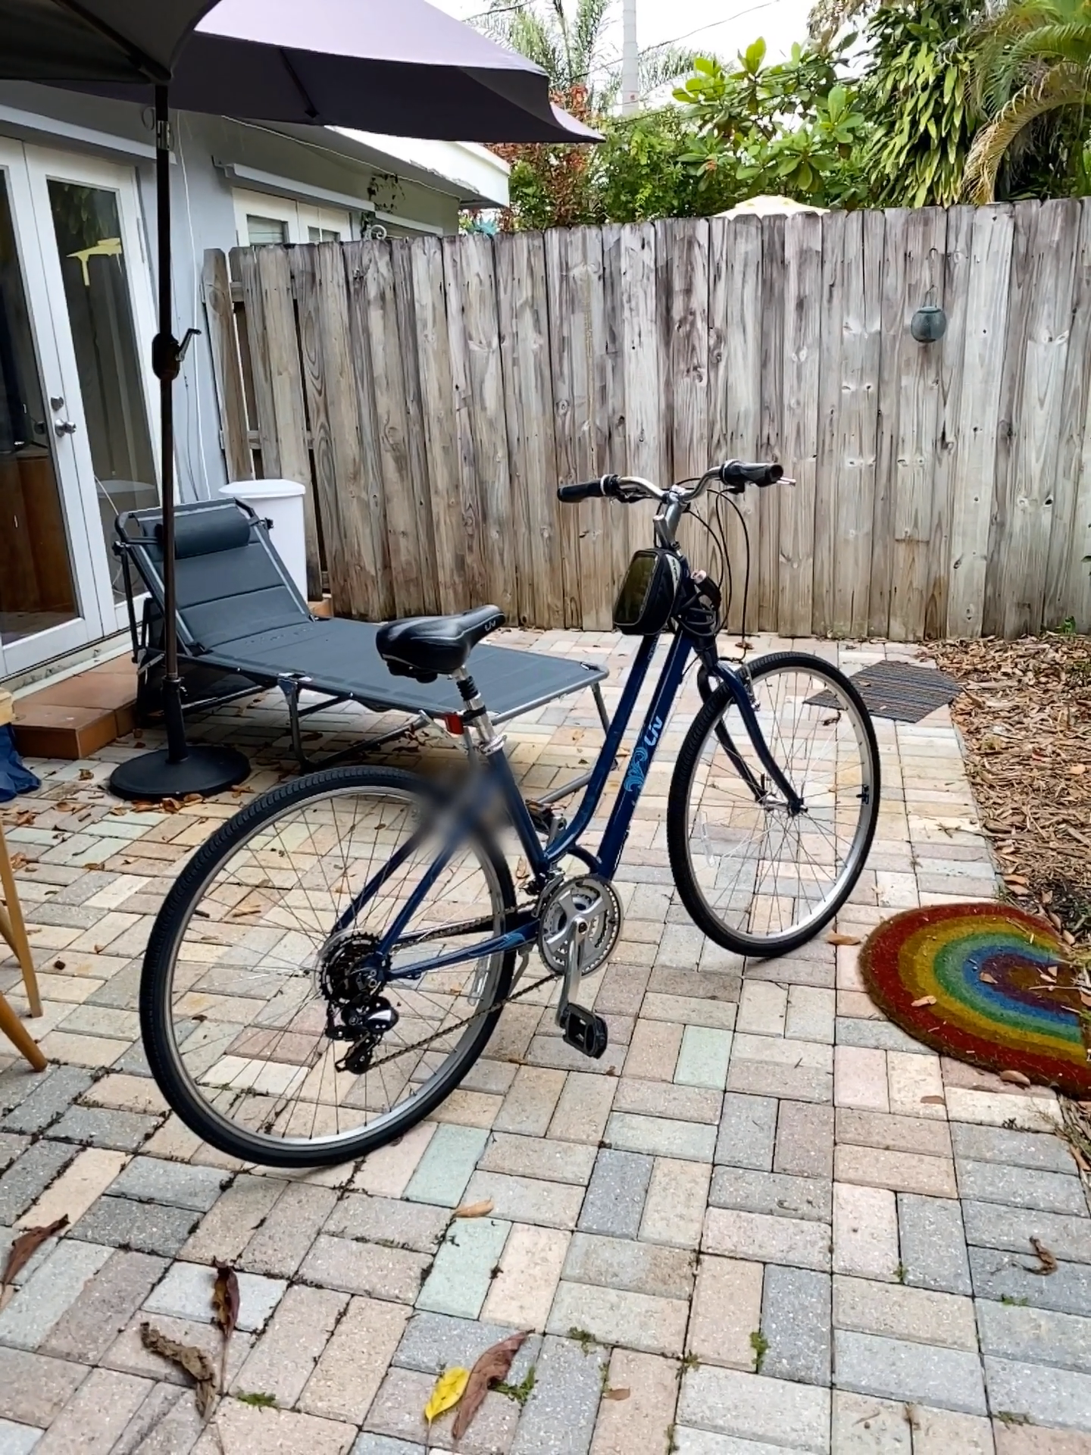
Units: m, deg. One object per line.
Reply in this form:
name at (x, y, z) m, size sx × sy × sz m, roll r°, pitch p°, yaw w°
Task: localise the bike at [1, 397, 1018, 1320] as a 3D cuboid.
bike at (0.067, 0.036, 2.077) m, size 1.692 × 1.067 × 0.596 m, roll -18°, pitch 24°, yaw -33°
